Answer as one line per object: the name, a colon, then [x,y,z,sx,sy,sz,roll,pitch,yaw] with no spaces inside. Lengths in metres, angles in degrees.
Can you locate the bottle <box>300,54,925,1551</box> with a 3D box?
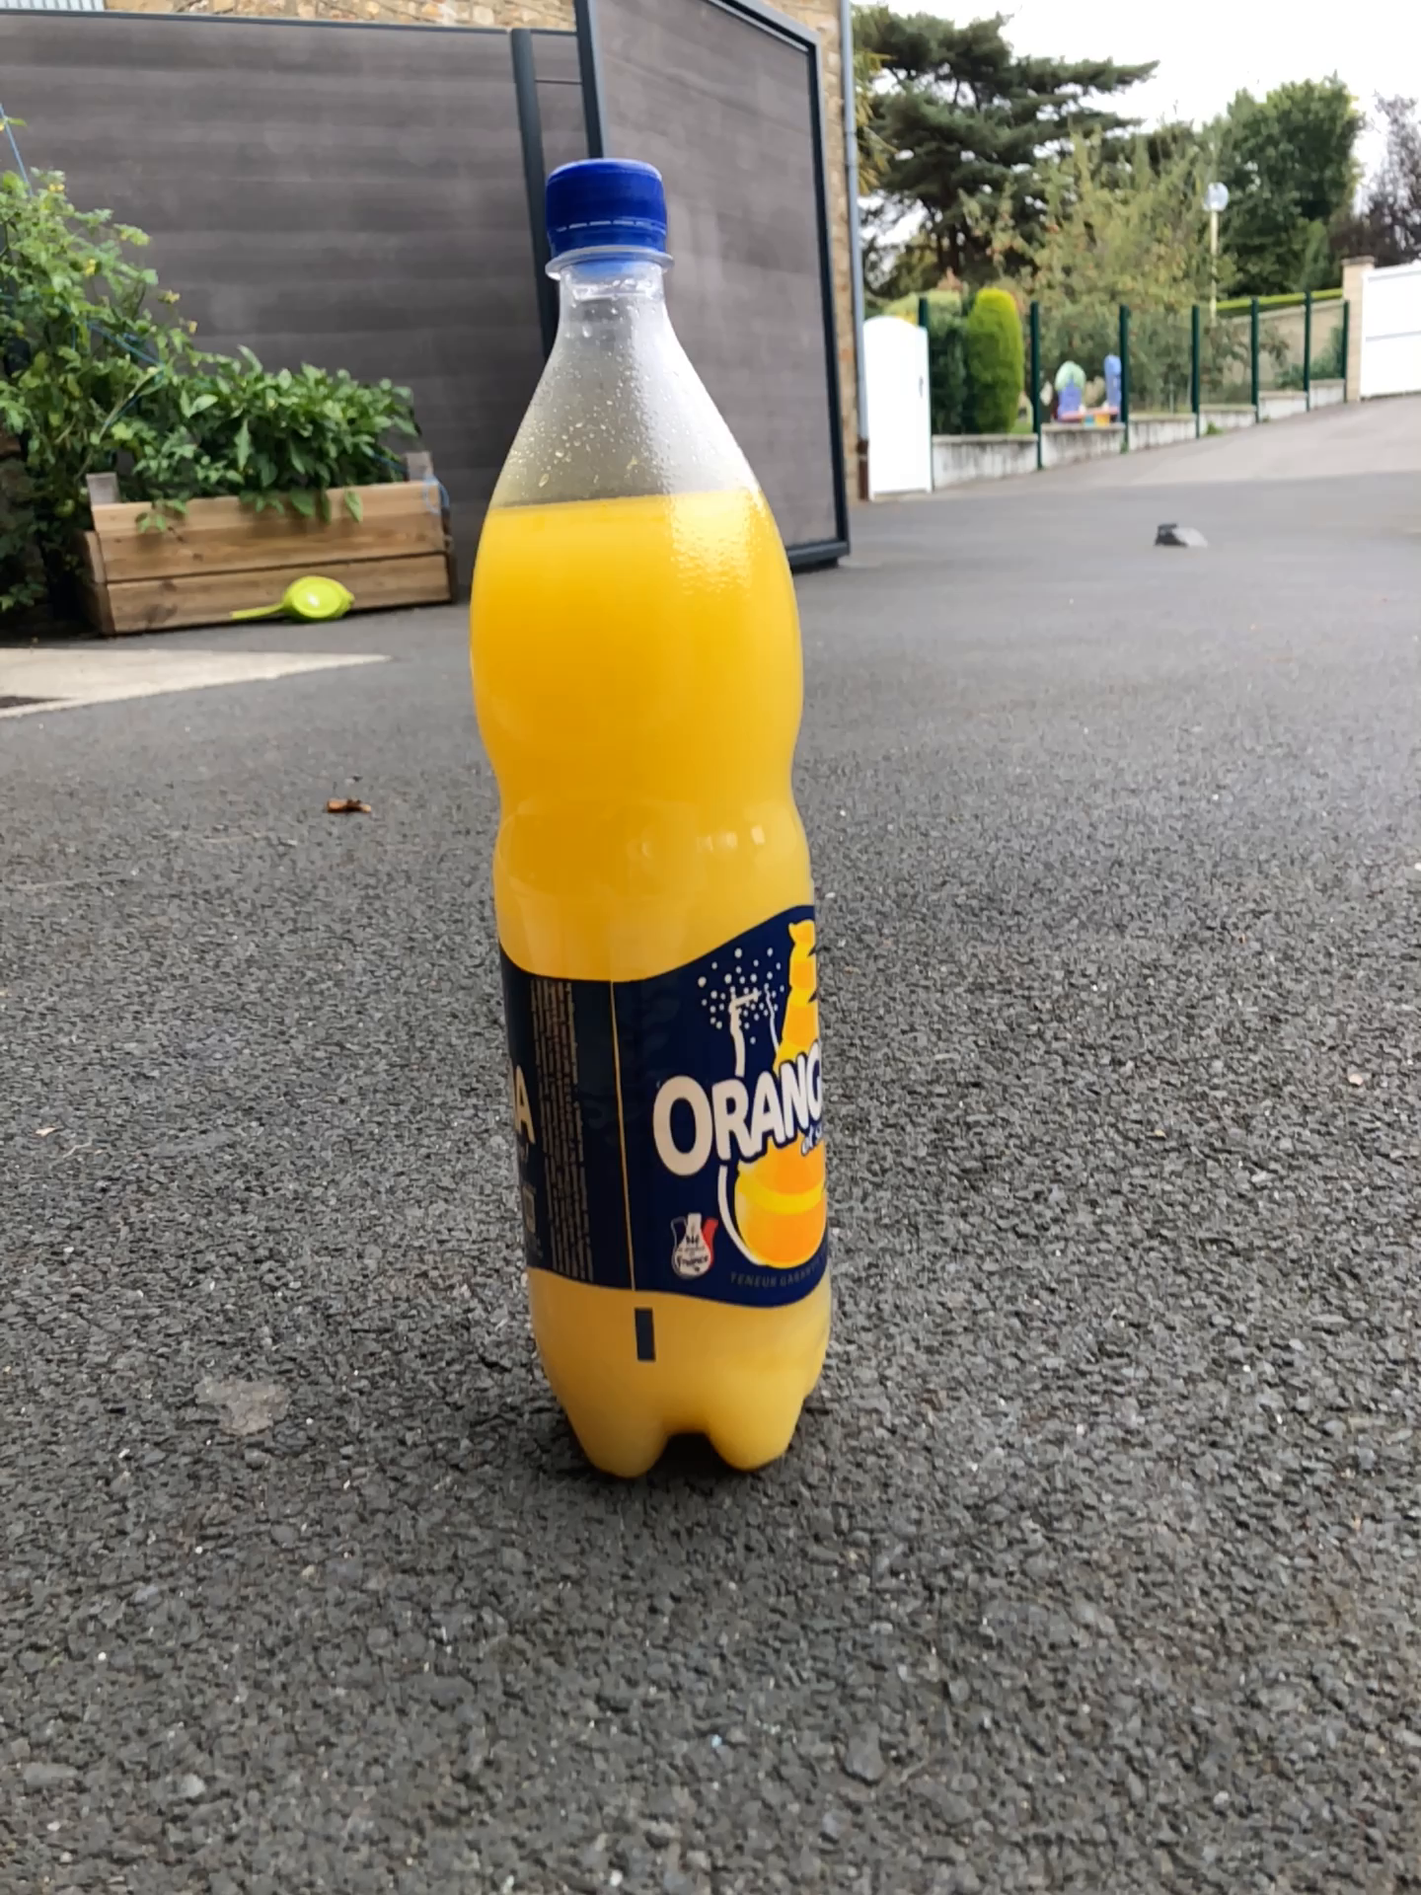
bottle: [-0.011,-0.026,0.410,0.100,0.339,0.100,-5,15,1]
